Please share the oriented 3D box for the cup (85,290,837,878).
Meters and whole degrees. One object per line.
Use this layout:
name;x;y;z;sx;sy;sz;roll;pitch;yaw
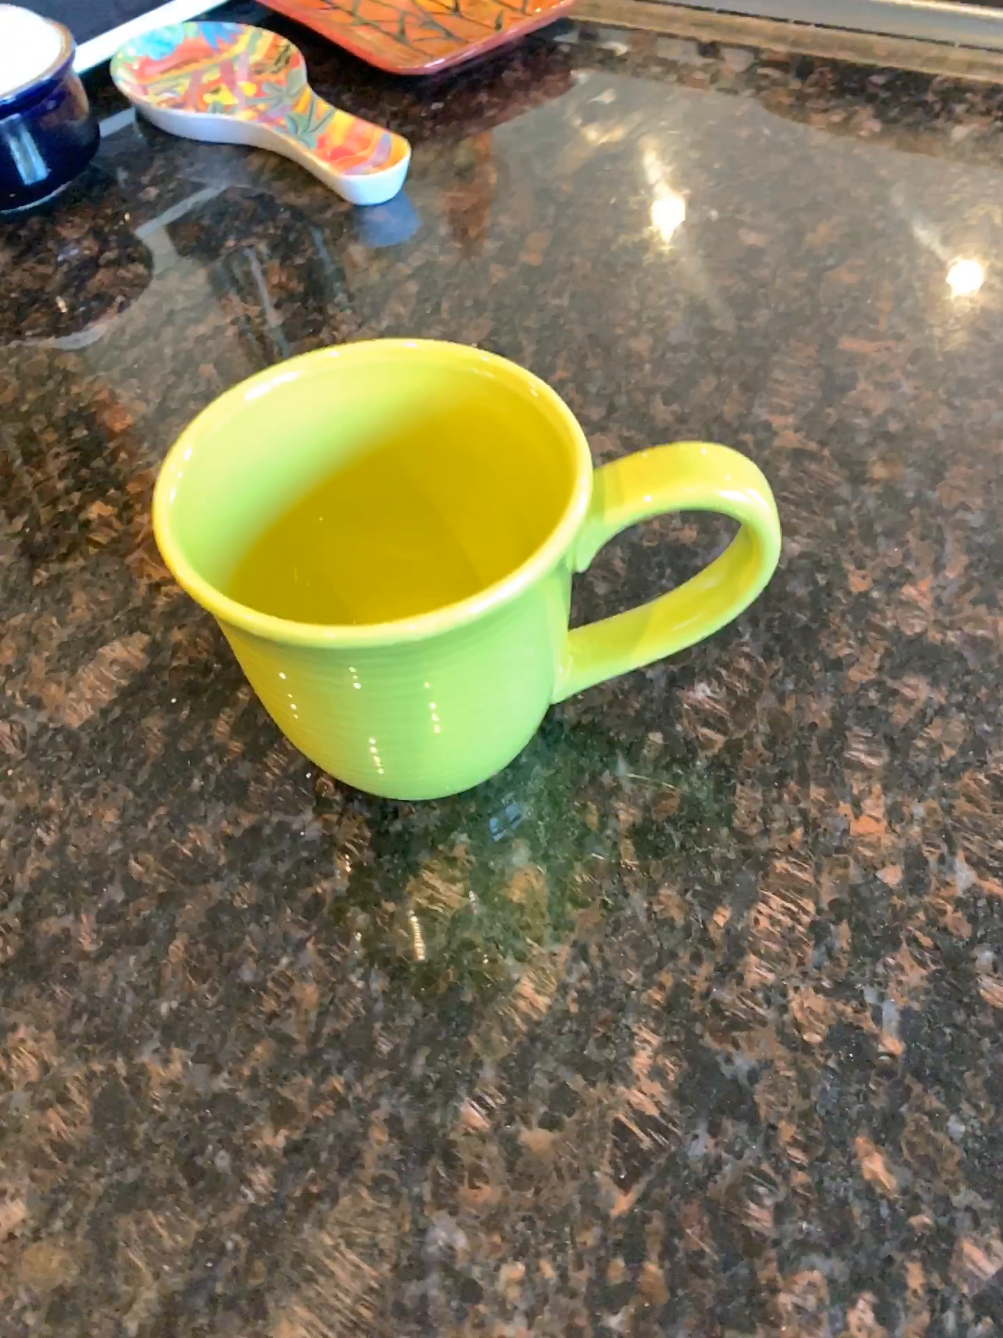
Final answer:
cup;-0.011;-0.023;0.270;0.150;0.080;0.110;-7;53;-1
